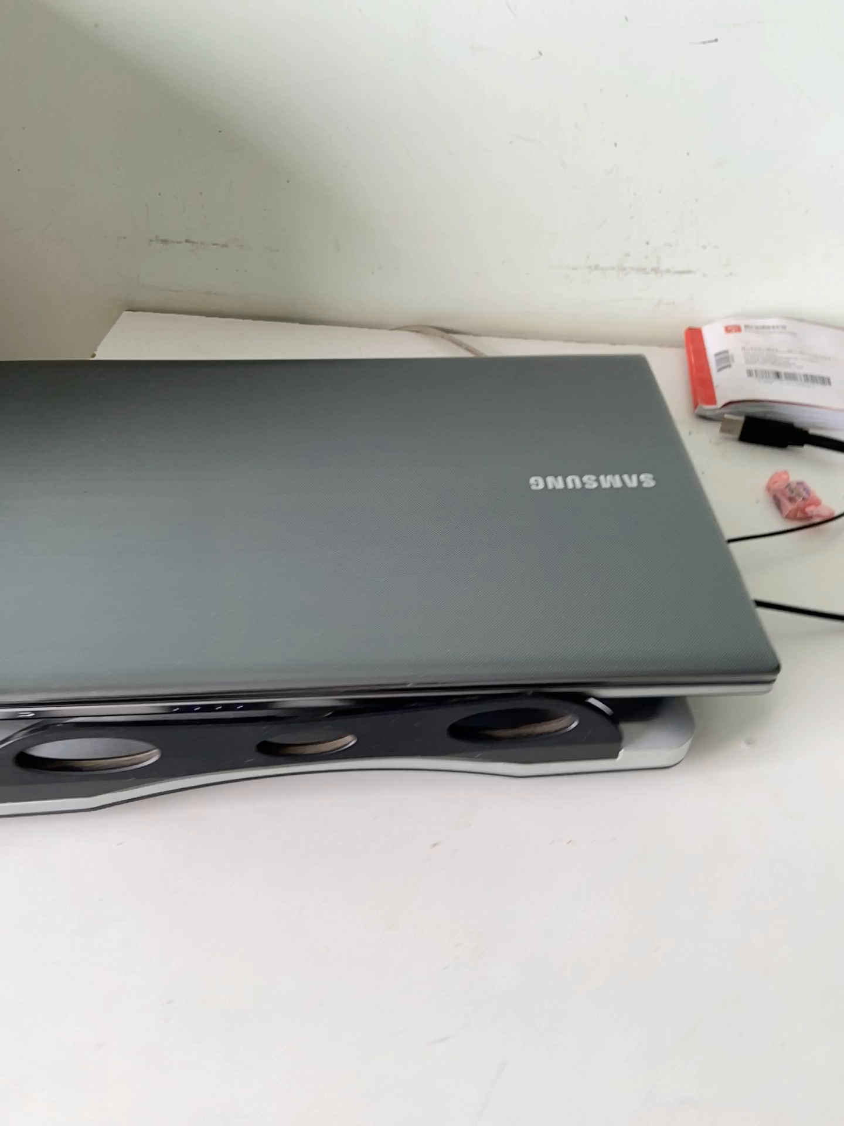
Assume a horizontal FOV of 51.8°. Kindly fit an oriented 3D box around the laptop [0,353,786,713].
[{"bbox_3d":[-0.049,-0.034,0.422,0.373,0.005,0.237,-2,44,-3],"label":"laptop"}]
